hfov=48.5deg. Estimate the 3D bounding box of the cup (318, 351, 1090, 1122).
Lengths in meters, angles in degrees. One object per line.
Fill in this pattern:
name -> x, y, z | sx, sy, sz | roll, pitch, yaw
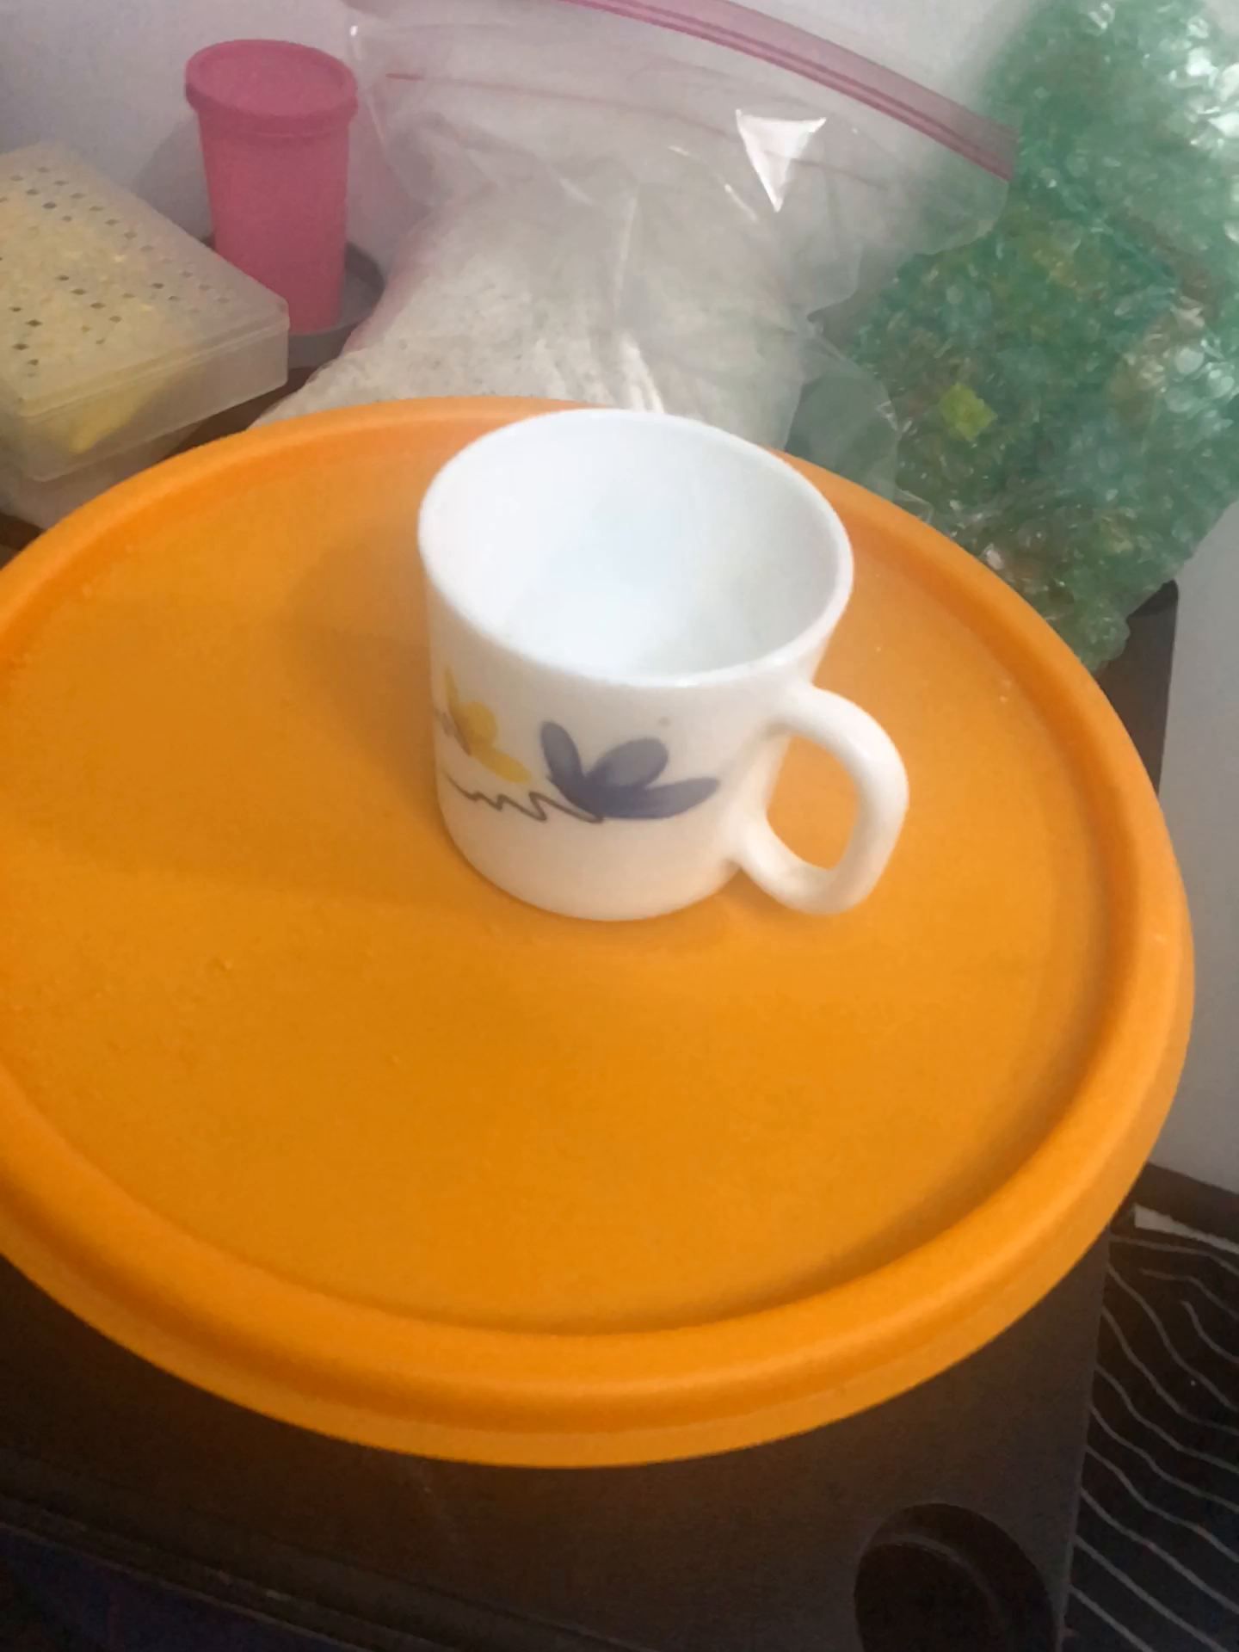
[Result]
cup -> 0.011, -0.020, 0.251 | 0.100, 0.070, 0.080 | 34, 53, 19
